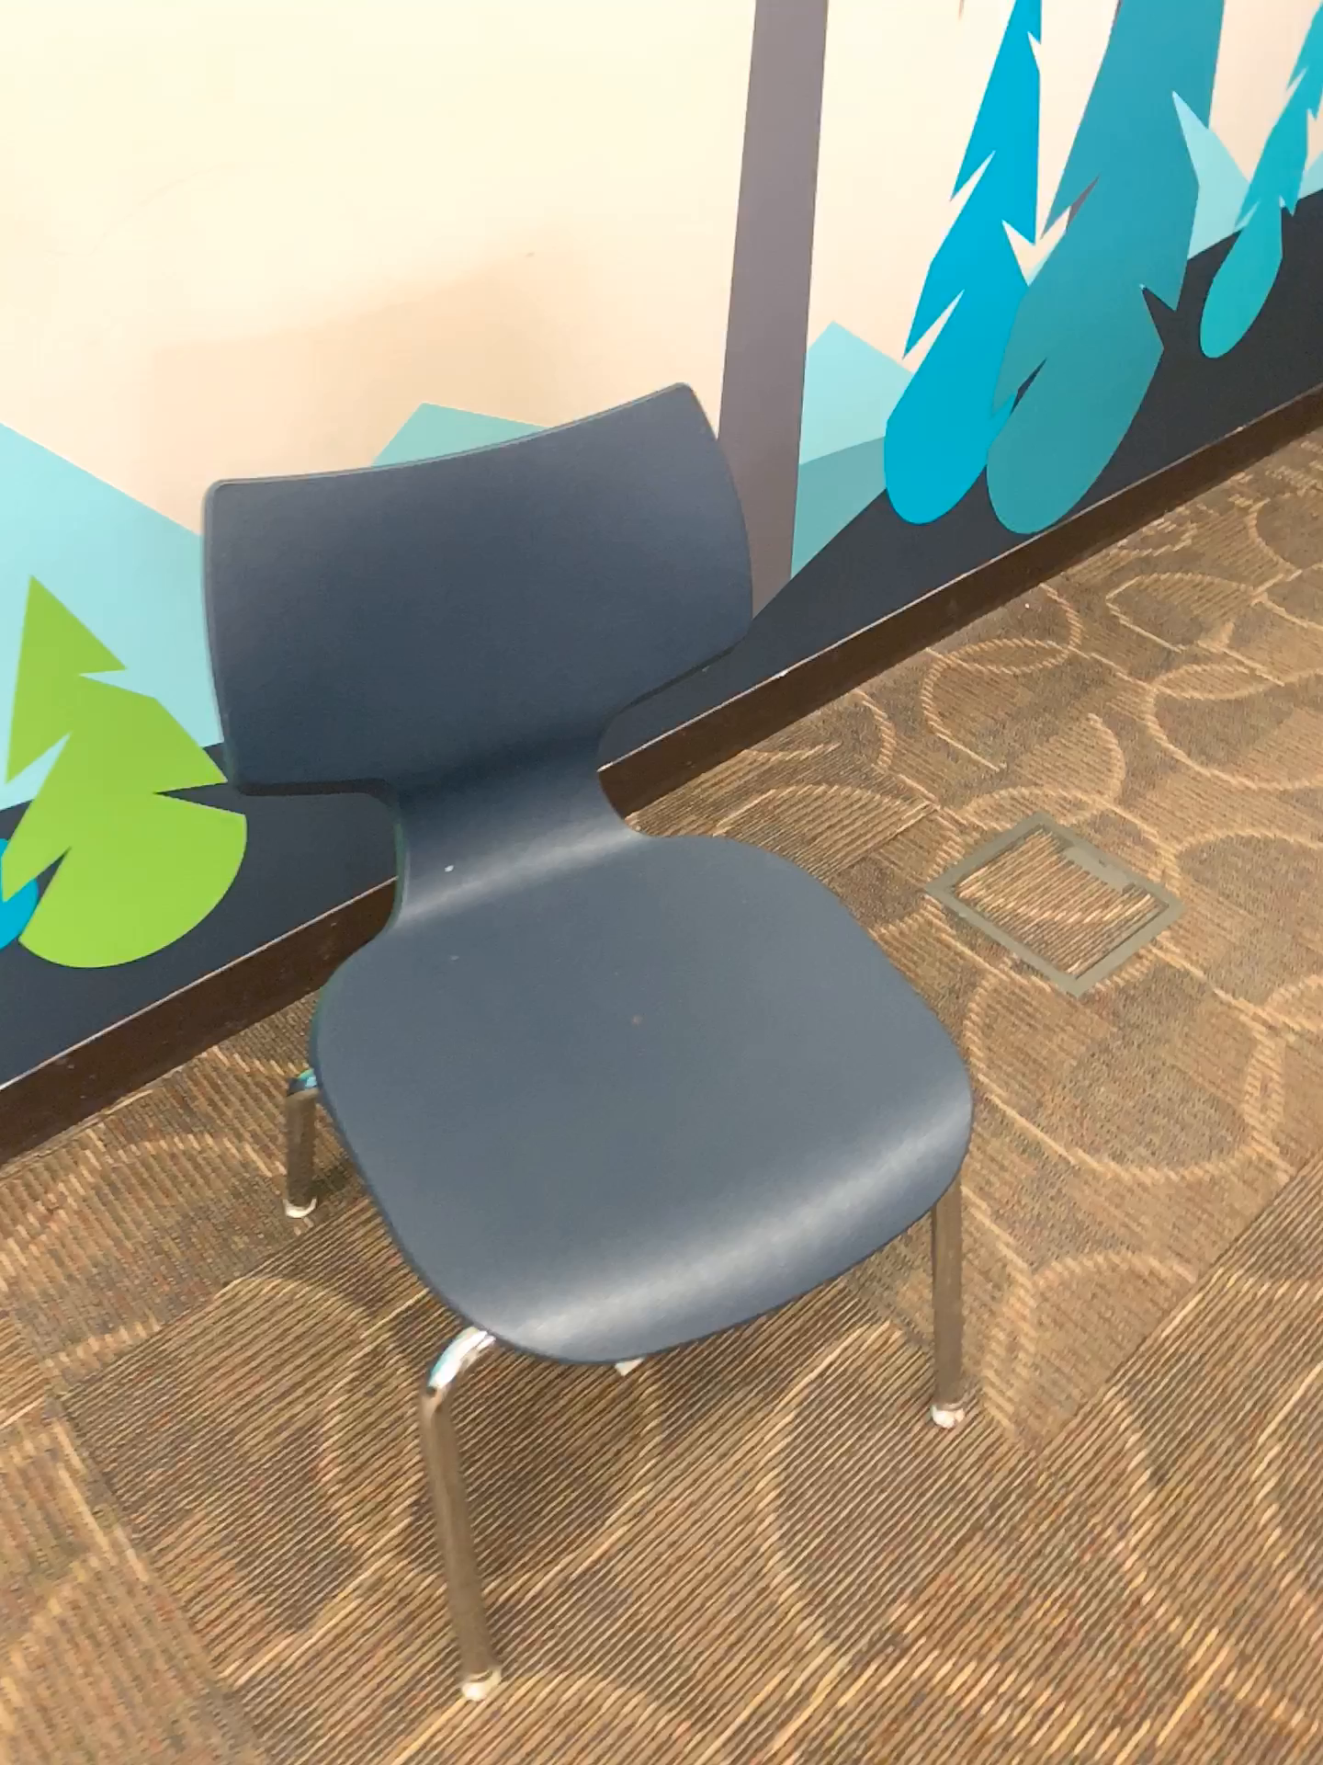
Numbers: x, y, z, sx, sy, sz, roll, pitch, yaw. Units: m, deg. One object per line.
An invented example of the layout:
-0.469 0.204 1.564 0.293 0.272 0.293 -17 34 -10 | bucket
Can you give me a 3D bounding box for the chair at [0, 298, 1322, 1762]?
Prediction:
-0.048 0.094 1.002 0.571 0.746 0.582 -20 48 -22 | chair
